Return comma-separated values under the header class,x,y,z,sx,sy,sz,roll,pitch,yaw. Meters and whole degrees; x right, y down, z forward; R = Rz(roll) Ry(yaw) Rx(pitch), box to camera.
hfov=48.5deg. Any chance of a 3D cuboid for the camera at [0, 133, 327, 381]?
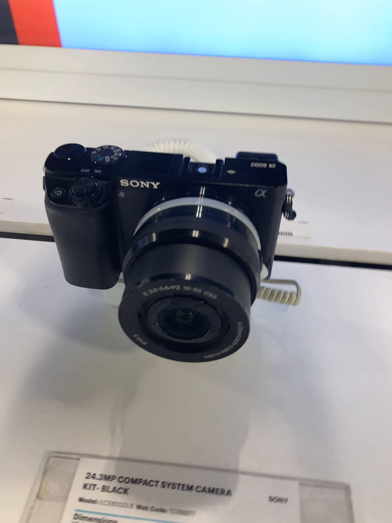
class,x,y,z,sx,sy,sz,roll,pitch,yaw
camera,-0.013,-0.007,0.224,0.130,0.070,0.101,4,44,3
